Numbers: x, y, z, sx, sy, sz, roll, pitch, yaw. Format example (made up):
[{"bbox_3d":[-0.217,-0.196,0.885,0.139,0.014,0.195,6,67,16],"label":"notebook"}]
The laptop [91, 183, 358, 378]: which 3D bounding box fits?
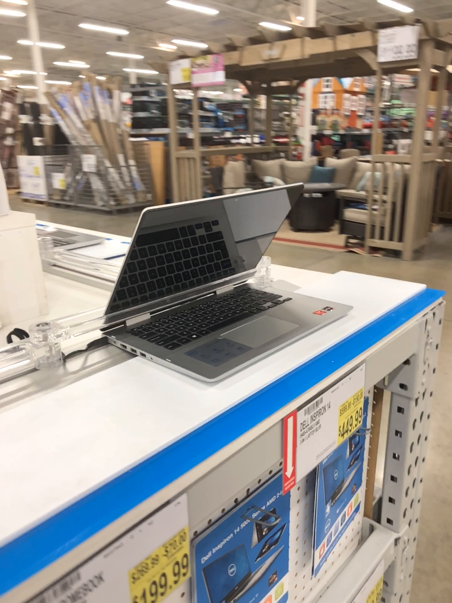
[{"bbox_3d":[0.010,-0.059,0.713,0.210,0.183,0.308,15,25,41],"label":"laptop"}]
